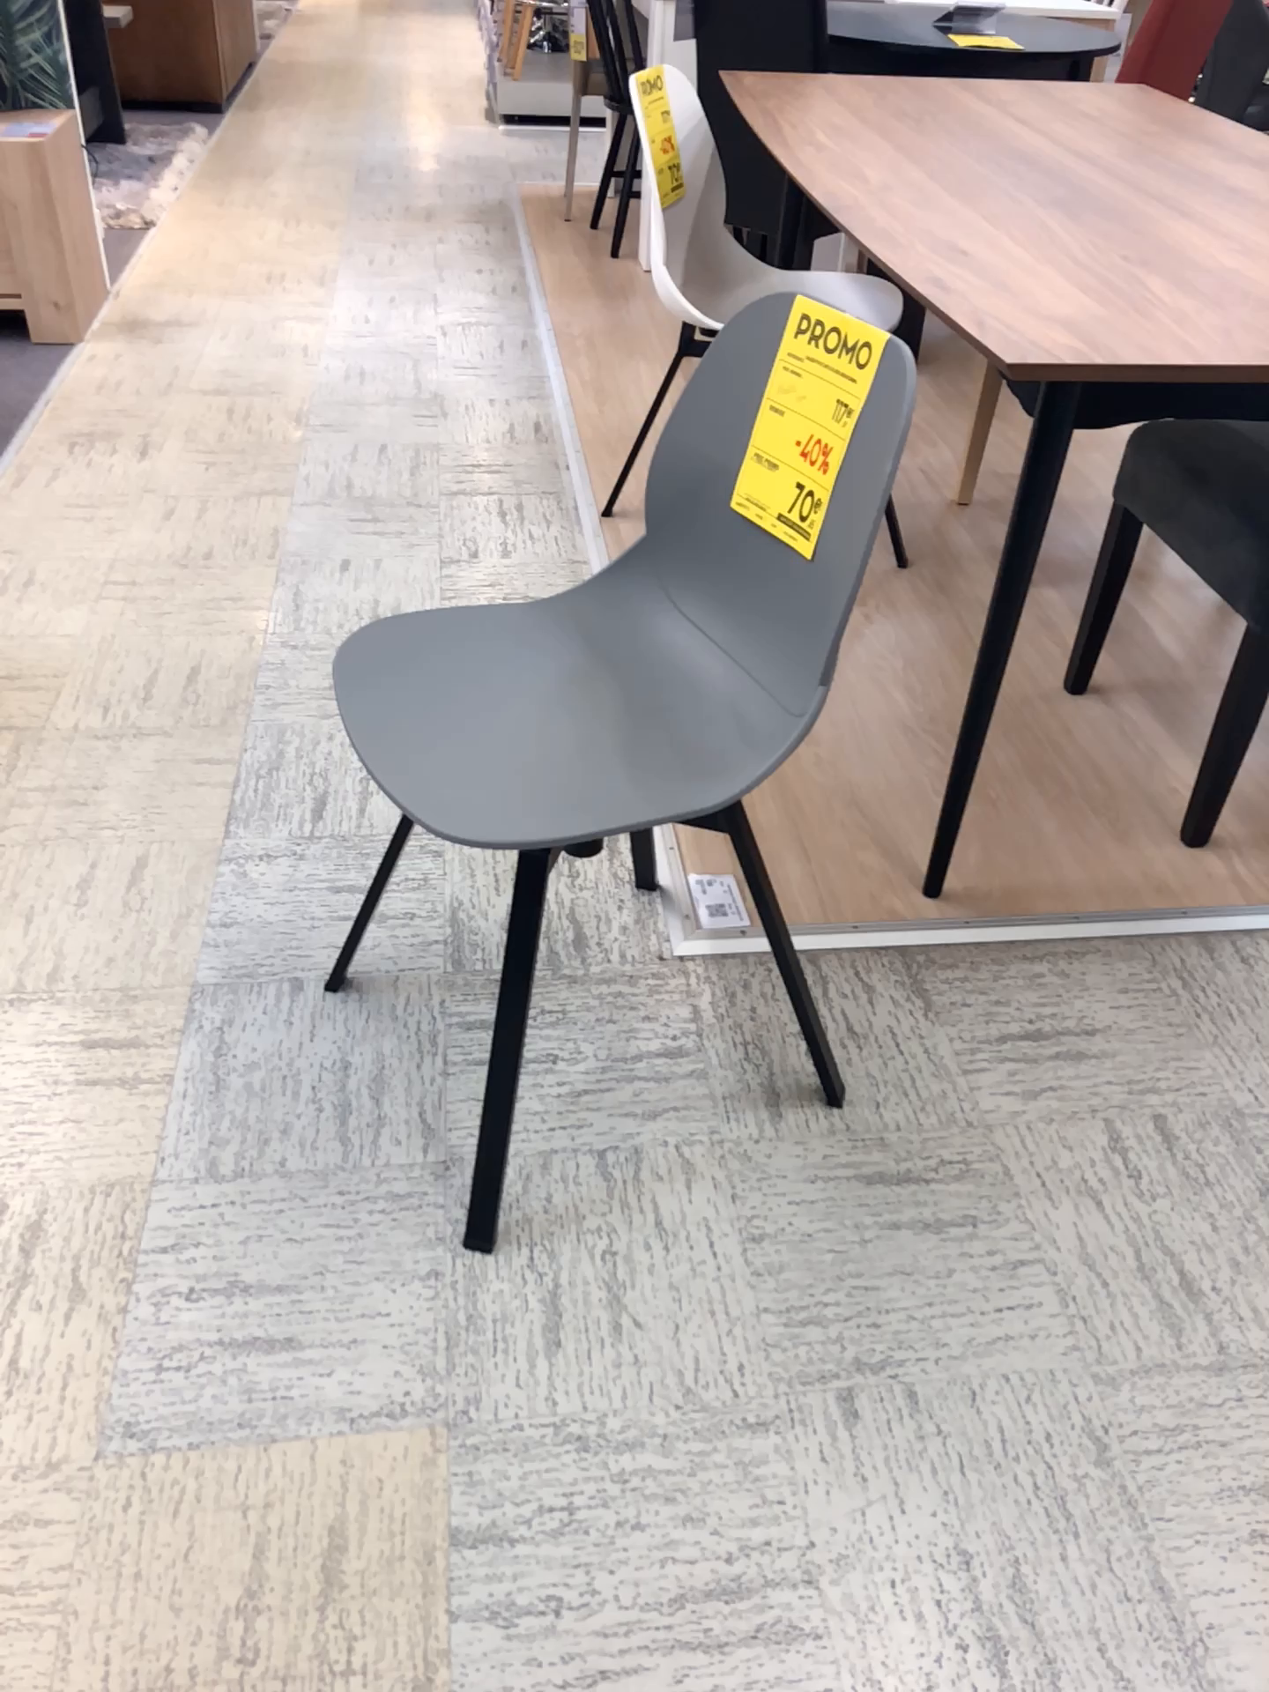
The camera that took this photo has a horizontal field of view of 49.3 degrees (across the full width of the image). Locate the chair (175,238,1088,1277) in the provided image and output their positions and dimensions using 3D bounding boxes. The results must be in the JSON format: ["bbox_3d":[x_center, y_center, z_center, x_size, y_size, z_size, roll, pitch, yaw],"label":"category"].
[{"bbox_3d":[-0.034,-0.118,1.365,0.582,0.755,0.511,-17,40,-25],"label":"chair"}]
